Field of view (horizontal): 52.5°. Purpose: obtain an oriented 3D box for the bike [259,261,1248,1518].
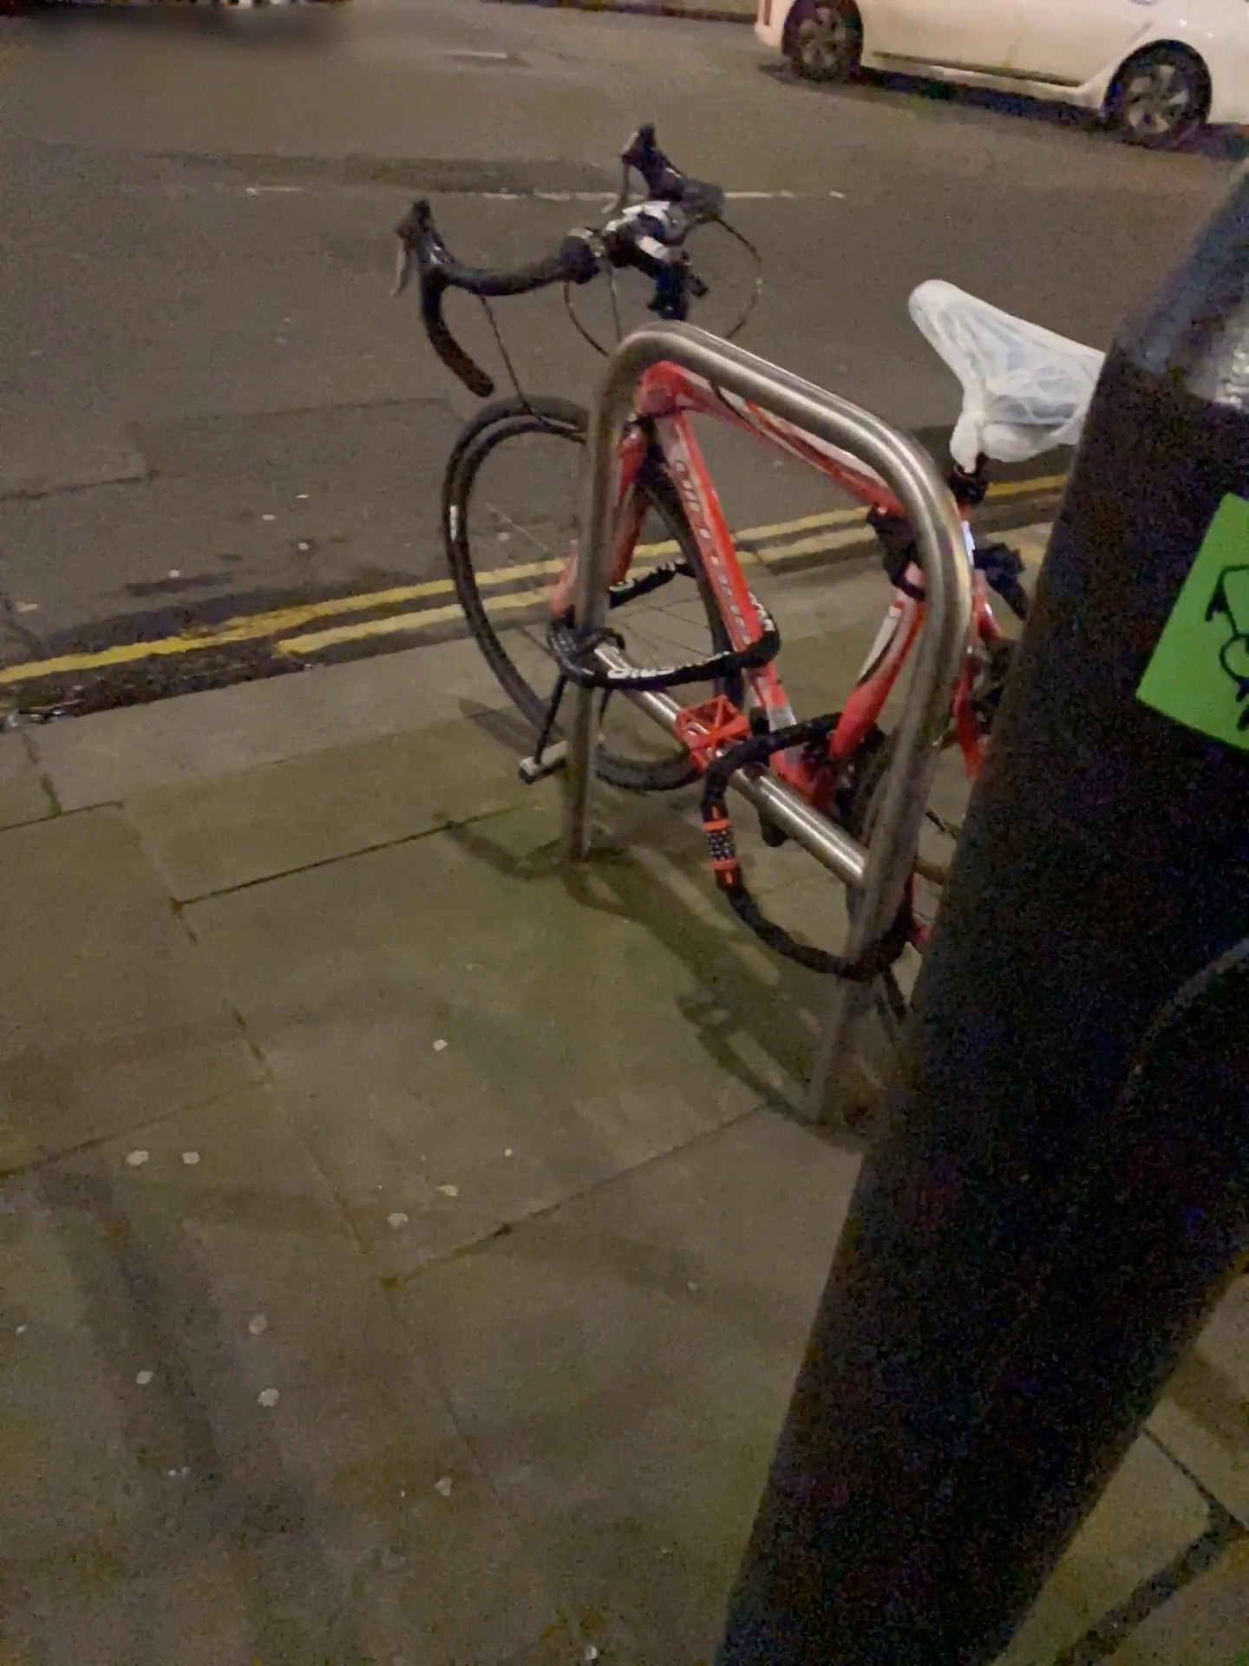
[{"bbox_3d":[0.129,-0.135,1.699,0.538,0.810,1.665,-19,42,-30],"label":"bike"}]
